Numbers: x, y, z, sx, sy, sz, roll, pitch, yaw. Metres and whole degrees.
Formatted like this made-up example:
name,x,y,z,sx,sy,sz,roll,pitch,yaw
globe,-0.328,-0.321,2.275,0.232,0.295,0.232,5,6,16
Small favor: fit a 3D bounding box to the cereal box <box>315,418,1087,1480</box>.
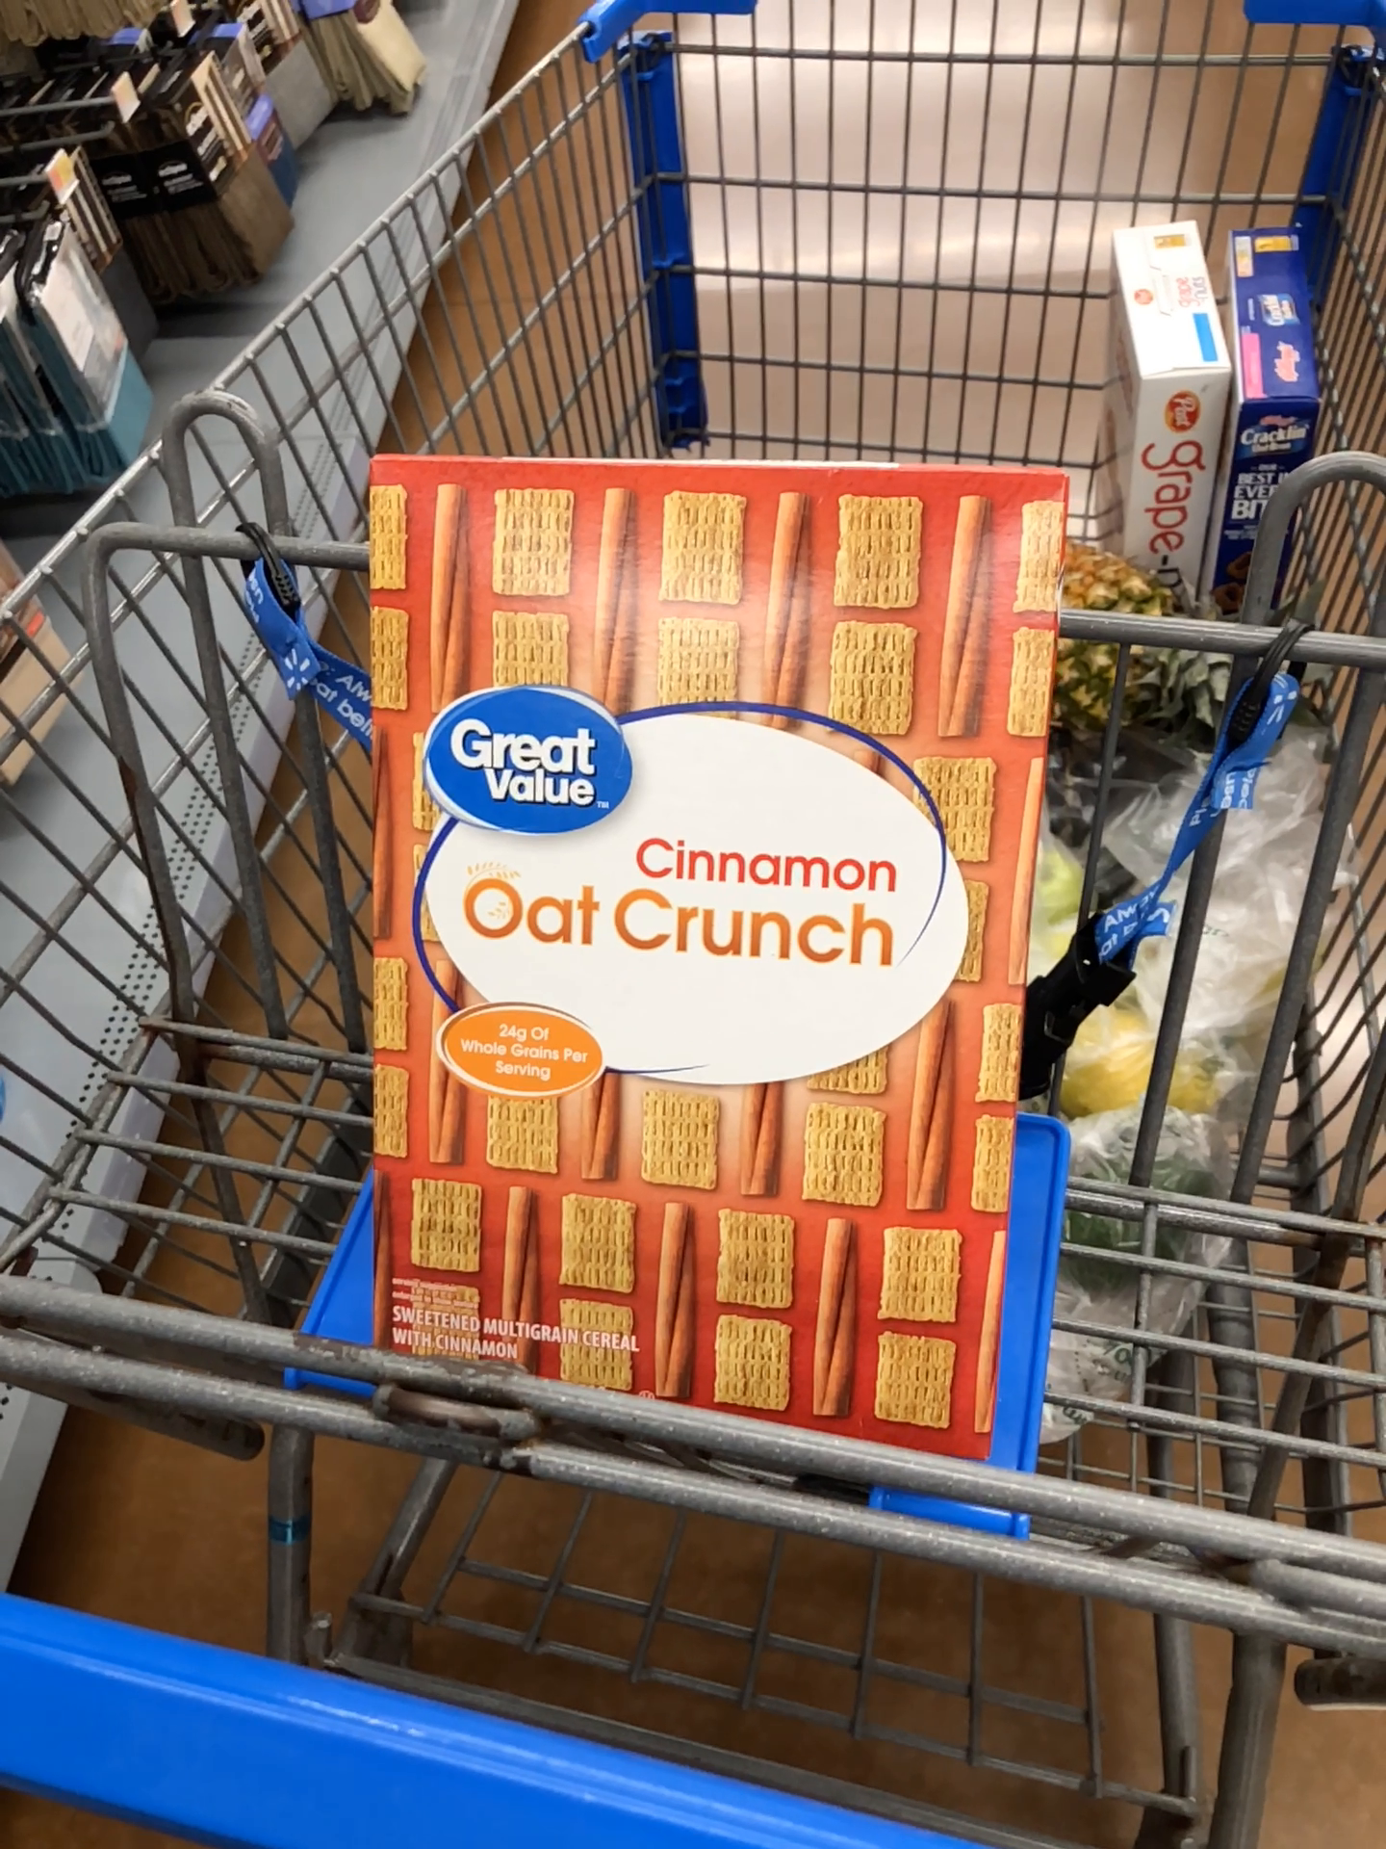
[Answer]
name,x,y,z,sx,sy,sz,roll,pitch,yaw
cereal box,-0.003,0.004,0.451,0.200,0.280,0.070,5,11,9
